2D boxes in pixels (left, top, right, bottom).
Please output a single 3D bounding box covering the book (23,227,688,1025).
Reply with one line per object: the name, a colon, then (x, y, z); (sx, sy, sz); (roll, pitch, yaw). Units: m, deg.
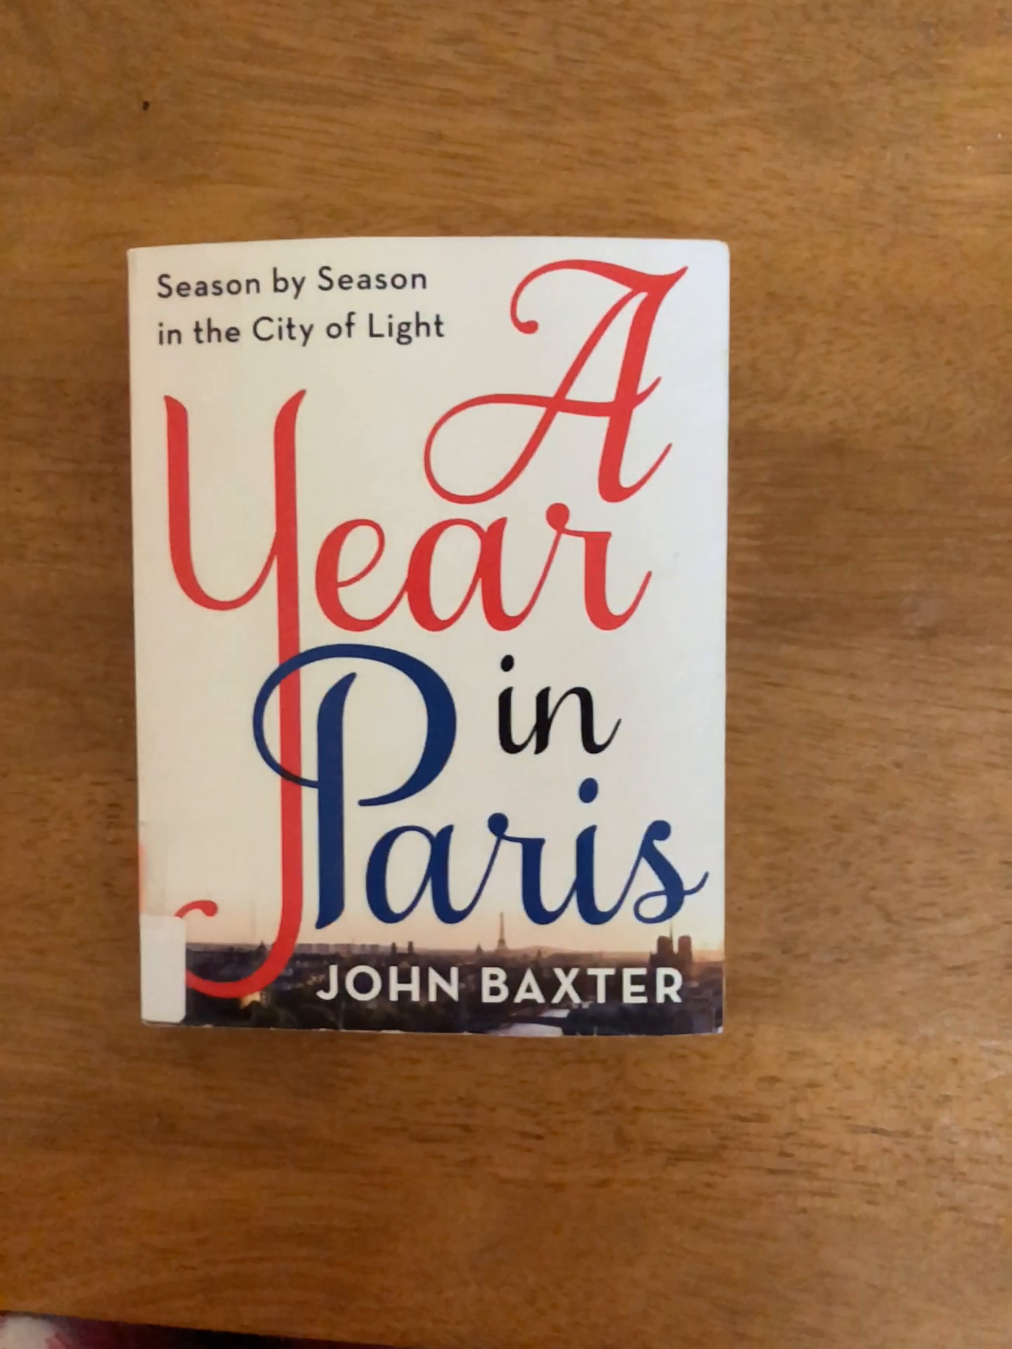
book: (-0.034, -0.010, 0.278); (0.150, 0.040, 0.182); (0, 93, 1)
